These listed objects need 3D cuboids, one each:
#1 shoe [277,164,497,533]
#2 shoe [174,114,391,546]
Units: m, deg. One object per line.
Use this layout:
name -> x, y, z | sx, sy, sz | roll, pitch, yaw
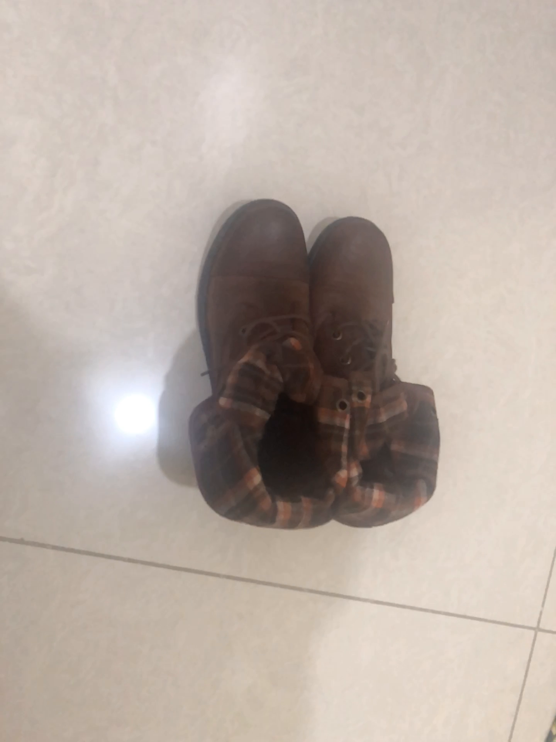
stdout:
shoe -> 0.087, -0.014, 0.528 | 0.100, 0.140, 0.270 | 6, 90, -24
shoe -> -0.005, -0.026, 0.486 | 0.110, 0.150, 0.280 | 2, 91, -24
